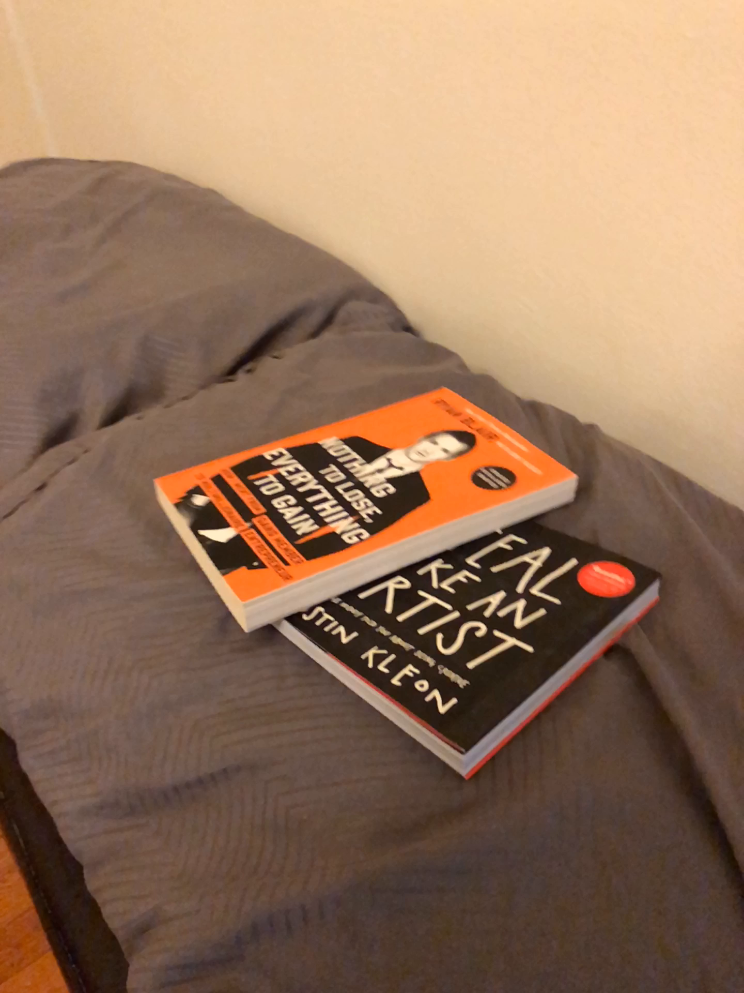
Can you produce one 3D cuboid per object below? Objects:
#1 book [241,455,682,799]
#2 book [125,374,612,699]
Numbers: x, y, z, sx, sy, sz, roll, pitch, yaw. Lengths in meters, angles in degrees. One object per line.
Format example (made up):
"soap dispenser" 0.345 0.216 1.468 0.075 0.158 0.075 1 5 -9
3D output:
"book" 0.047 0.050 0.426 0.170 0.020 0.150 -31 45 -34
"book" -0.005 0.004 0.486 0.230 0.020 0.171 -22 42 -23
